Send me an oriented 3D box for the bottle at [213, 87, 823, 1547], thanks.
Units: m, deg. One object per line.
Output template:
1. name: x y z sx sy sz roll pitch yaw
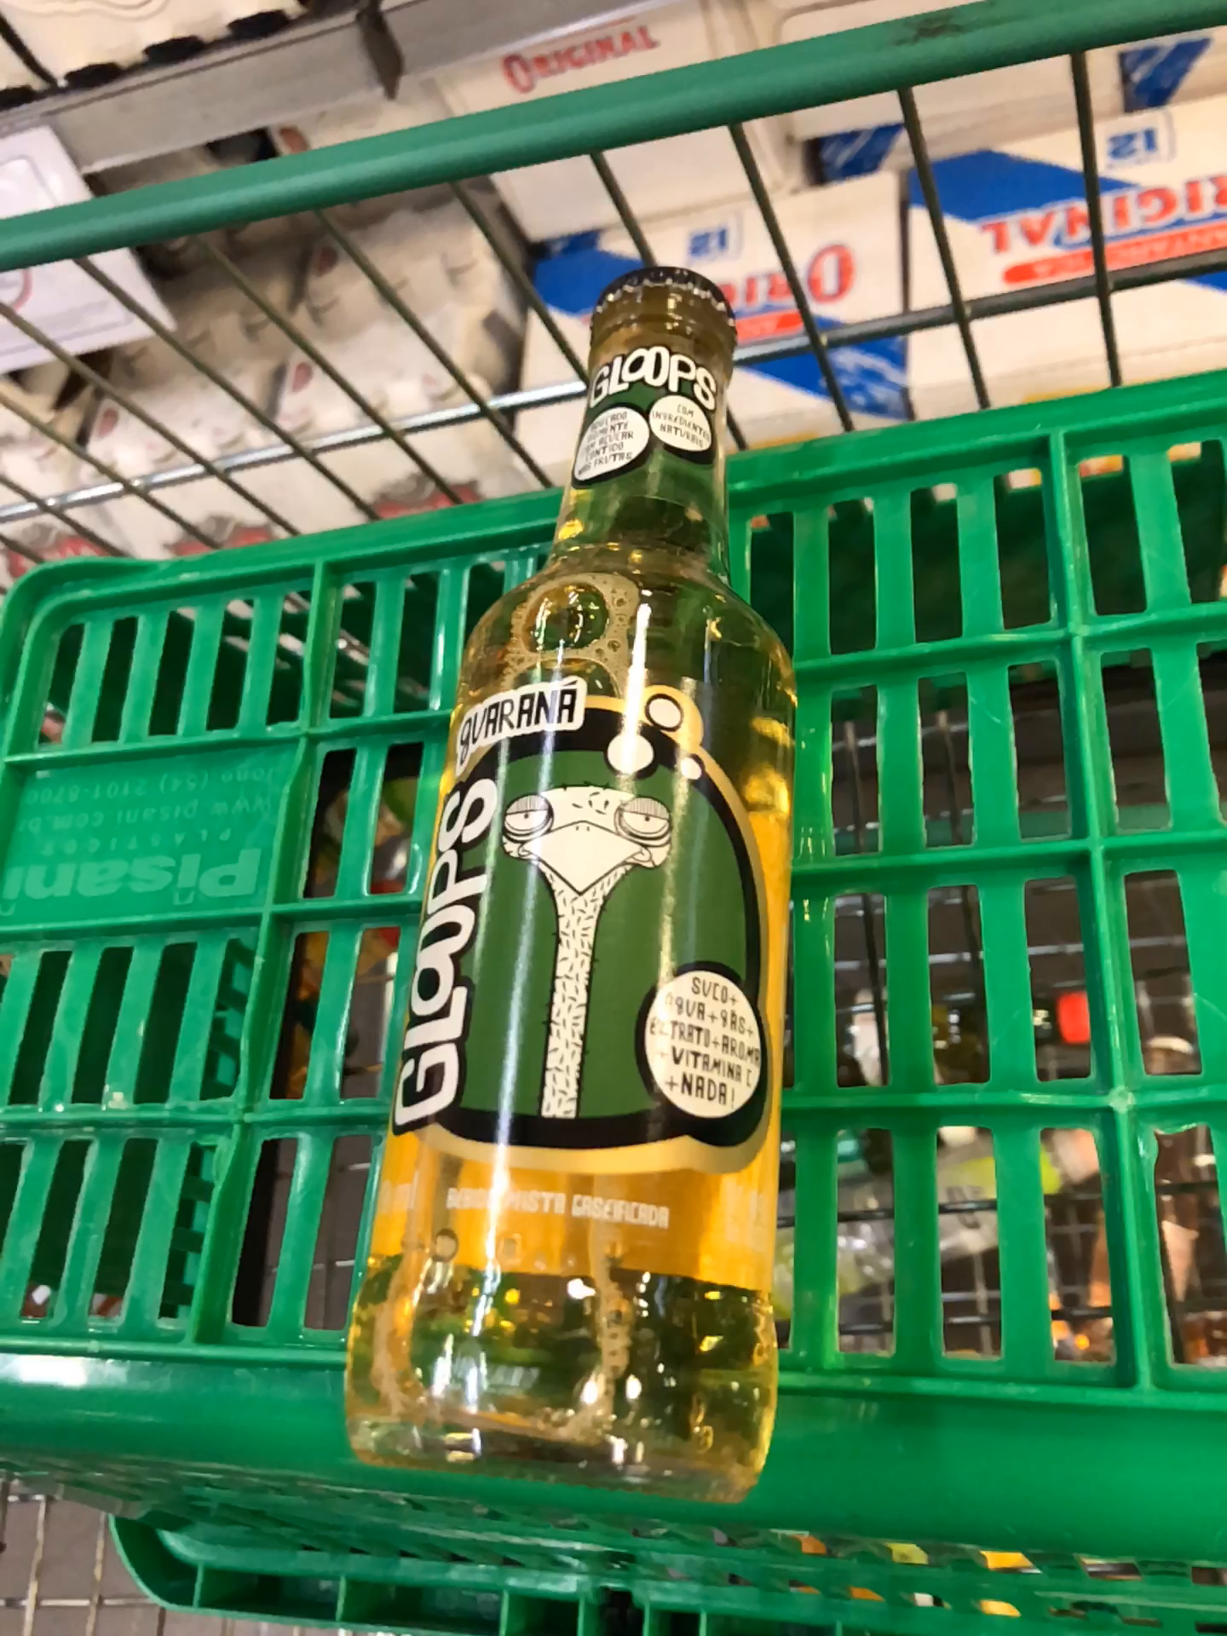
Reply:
1. bottle: -0.003 -0.012 0.221 0.060 0.050 0.221 -5 65 21
